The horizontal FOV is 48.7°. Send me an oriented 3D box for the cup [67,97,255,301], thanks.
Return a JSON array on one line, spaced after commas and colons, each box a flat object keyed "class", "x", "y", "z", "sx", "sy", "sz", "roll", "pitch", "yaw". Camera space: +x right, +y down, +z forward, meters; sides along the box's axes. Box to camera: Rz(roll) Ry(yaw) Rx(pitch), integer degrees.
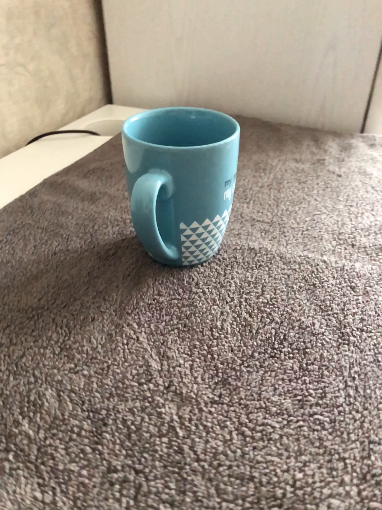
[{"class": "cup", "x": -0.012, "y": -0.050, "z": 0.309, "sx": 0.087, "sy": 0.089, "sz": 0.126, "roll": 11, "pitch": 36, "yaw": 14}]
